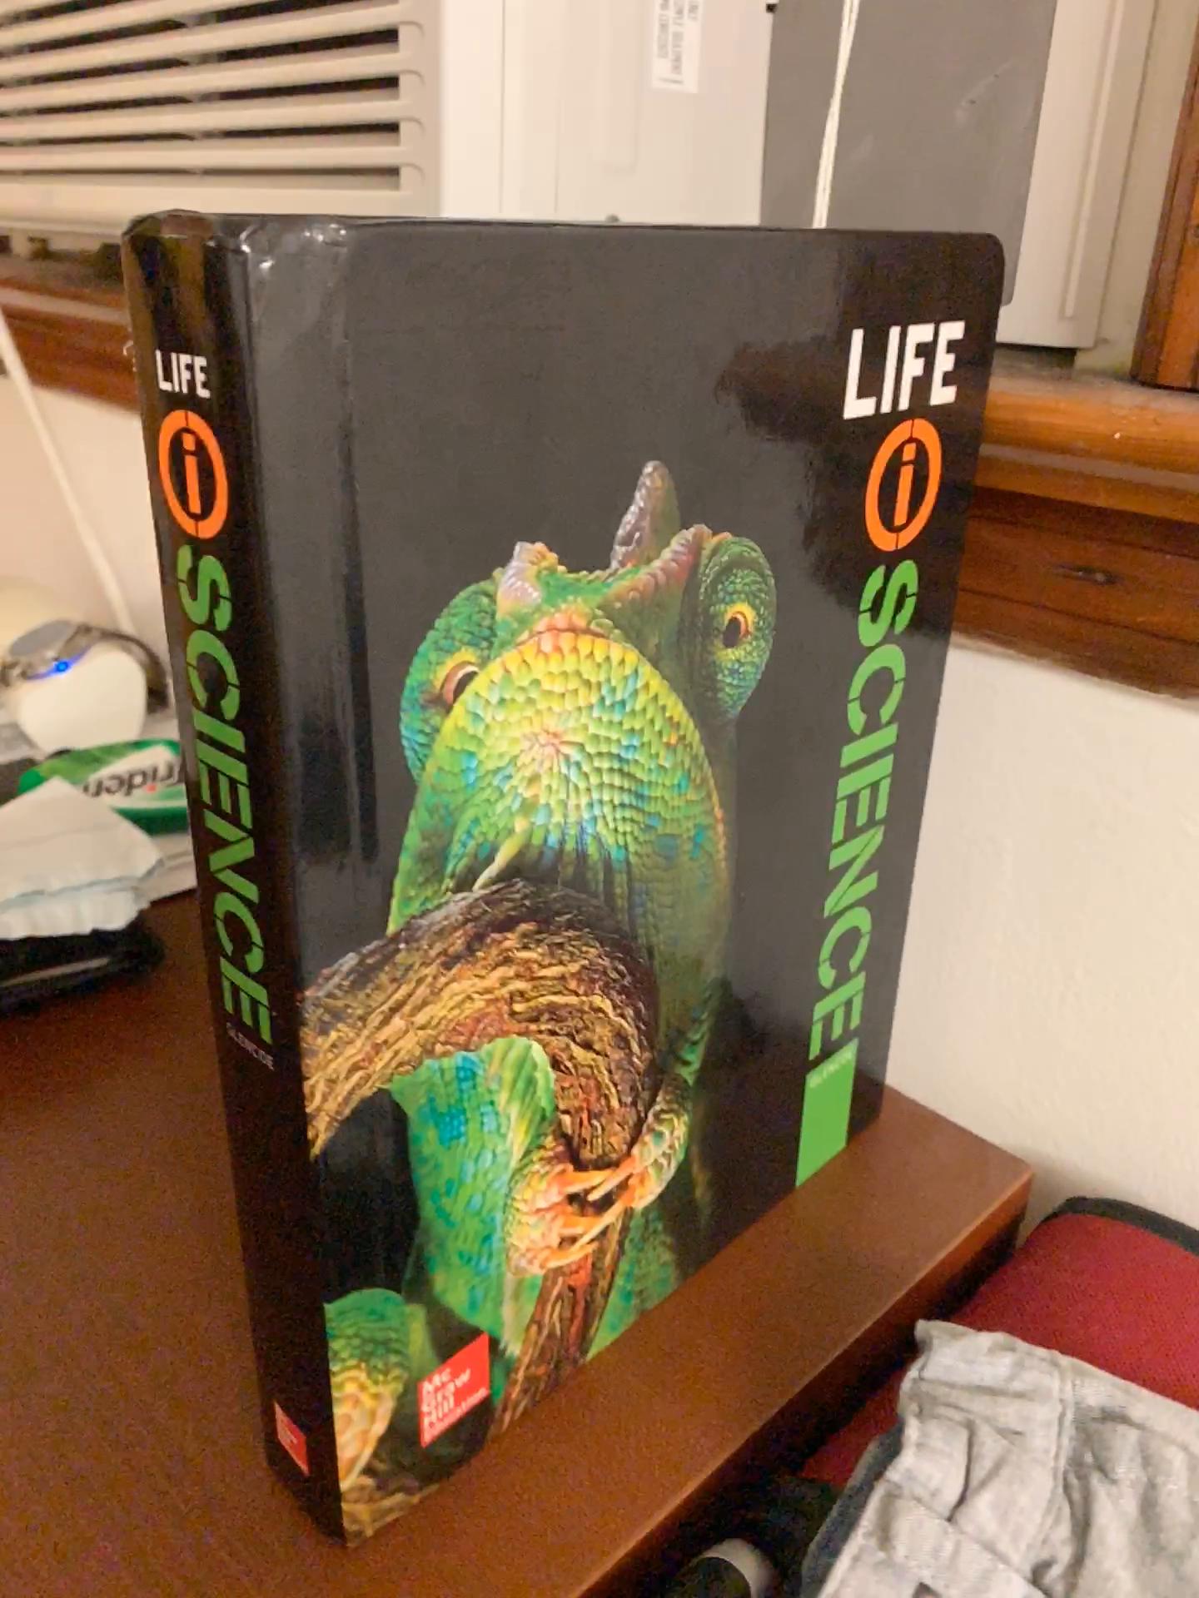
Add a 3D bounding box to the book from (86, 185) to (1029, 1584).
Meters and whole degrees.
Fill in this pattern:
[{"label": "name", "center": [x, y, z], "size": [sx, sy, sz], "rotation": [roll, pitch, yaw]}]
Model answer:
[{"label": "book", "center": [0.009, 0.008, 0.318], "size": [0.051, 0.286, 0.227], "rotation": [22, 31, 38]}]
